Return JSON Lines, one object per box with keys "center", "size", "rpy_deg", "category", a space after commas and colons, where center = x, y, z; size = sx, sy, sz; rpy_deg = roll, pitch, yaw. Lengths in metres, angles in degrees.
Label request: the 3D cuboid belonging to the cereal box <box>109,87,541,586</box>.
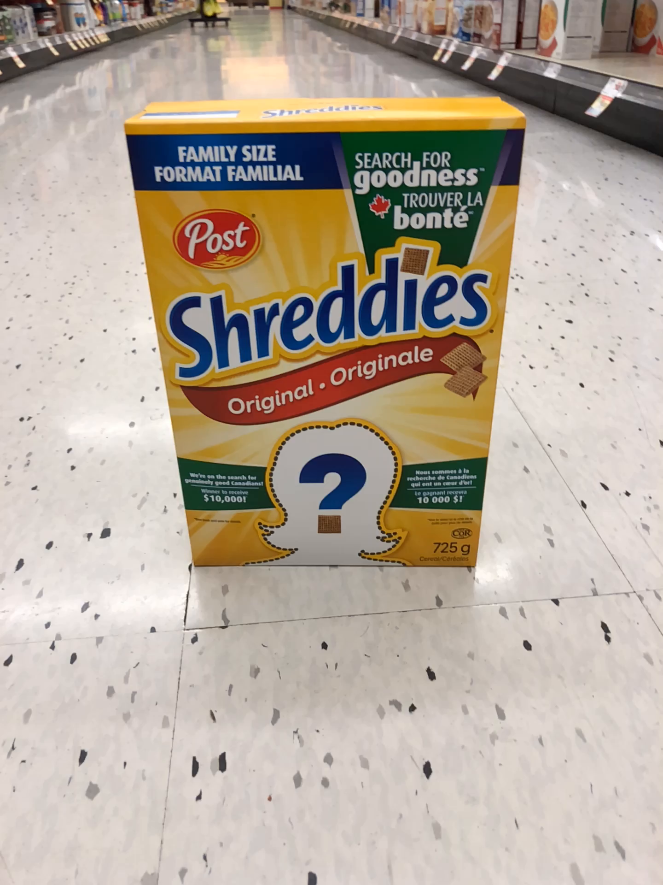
{"center": [-0.001, -0.048, 0.473], "size": [0.210, 0.318, 0.070], "rpy_deg": [-1, 34, 1], "category": "cereal box"}
